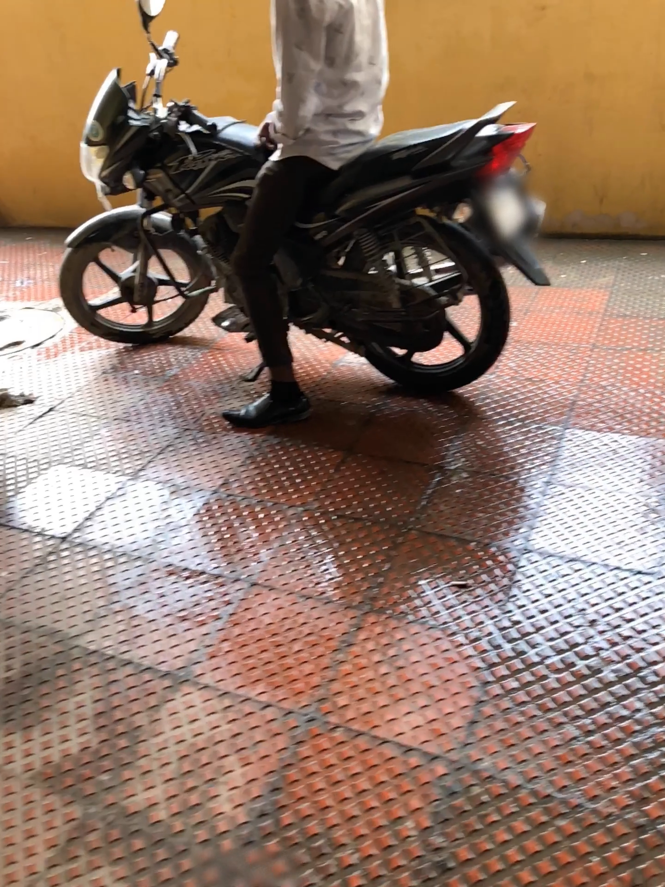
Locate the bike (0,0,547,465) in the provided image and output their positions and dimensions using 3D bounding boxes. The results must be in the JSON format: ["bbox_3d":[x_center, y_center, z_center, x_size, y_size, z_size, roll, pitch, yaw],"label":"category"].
[{"bbox_3d":[-0.359,-0.751,2.561,1.875,1.185,0.814,8,36,23],"label":"bike"}]
